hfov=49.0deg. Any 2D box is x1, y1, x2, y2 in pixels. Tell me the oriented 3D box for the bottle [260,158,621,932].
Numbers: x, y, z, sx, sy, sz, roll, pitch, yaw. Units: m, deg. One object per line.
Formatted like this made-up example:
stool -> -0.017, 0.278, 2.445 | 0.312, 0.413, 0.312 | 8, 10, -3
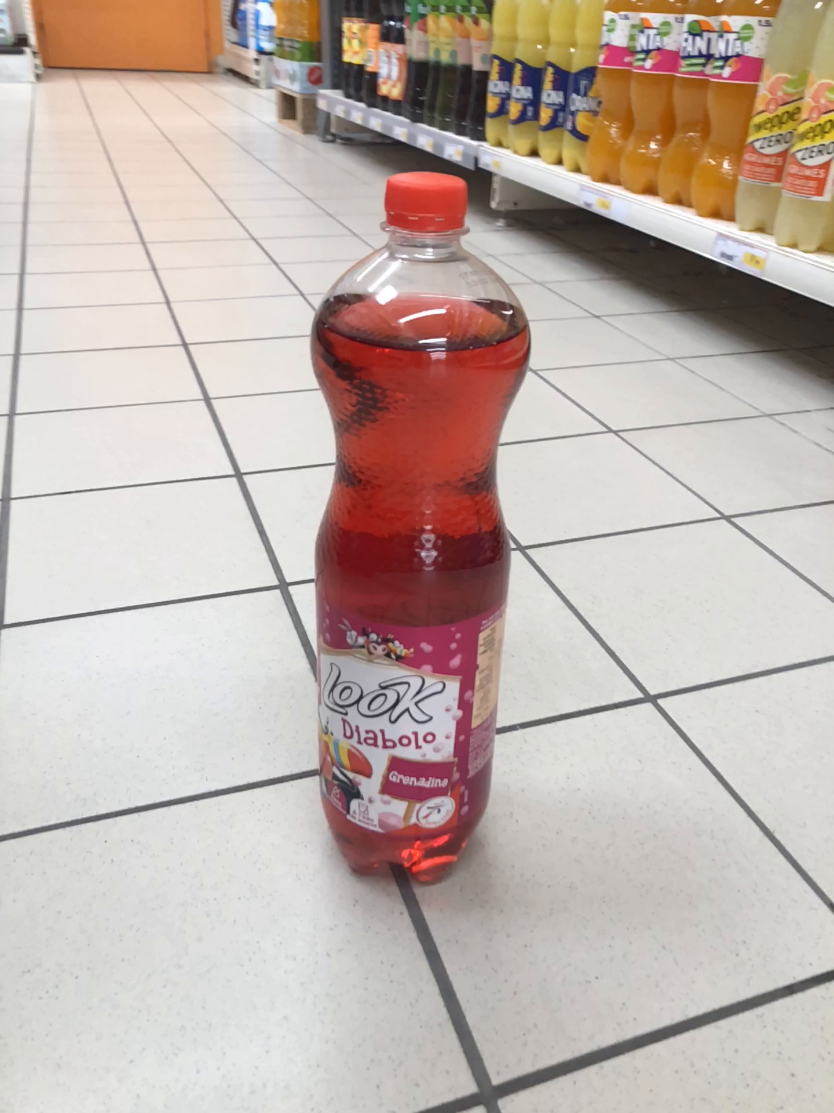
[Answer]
bottle -> 0.007, 0.003, 0.397 | 0.100, 0.308, 0.101 | 2, 29, -1
